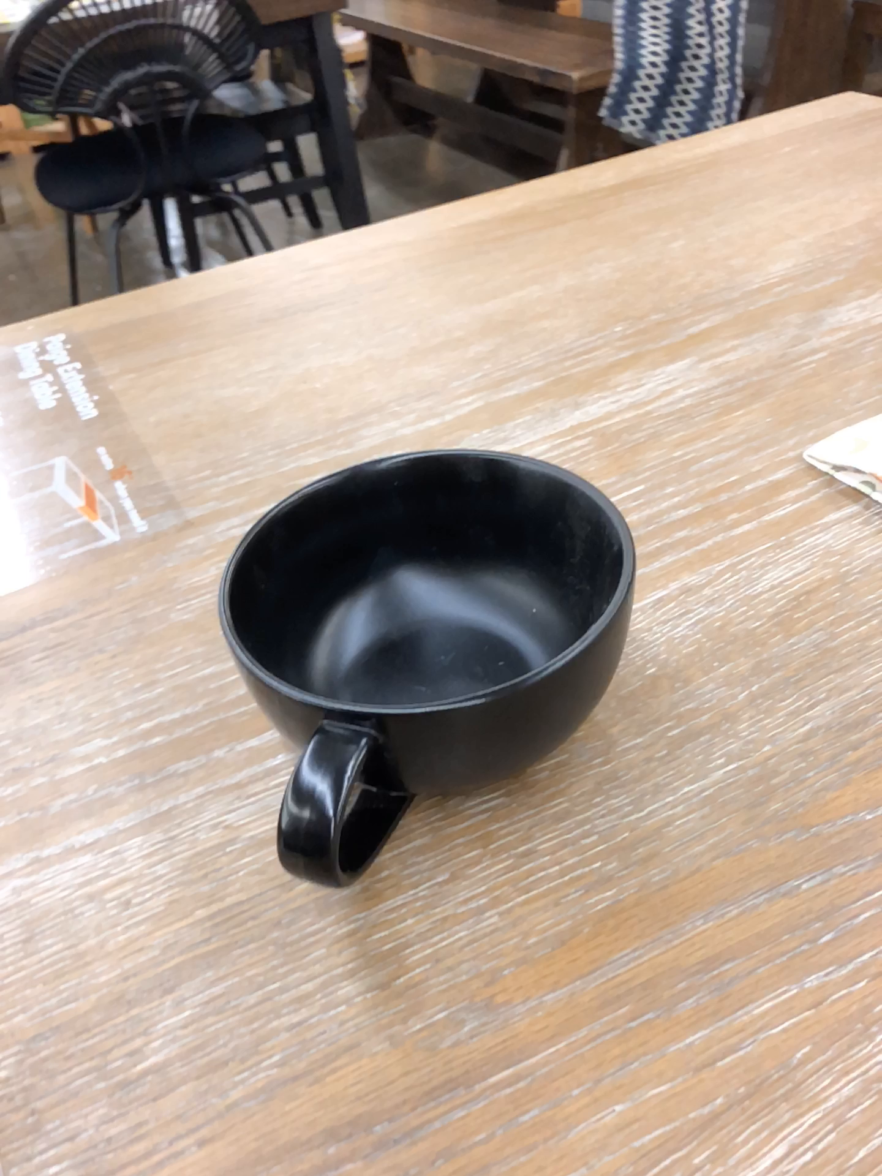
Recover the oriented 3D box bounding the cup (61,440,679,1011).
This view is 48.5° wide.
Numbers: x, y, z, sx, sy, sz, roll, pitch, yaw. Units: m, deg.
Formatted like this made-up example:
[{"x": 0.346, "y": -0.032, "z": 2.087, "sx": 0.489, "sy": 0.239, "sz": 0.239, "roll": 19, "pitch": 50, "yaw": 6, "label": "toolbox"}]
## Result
[{"x": -0.006, "y": 0.025, "z": 0.320, "sx": 0.138, "sy": 0.054, "sz": 0.175, "roll": 8, "pitch": 41, "yaw": 18, "label": "cup"}]
